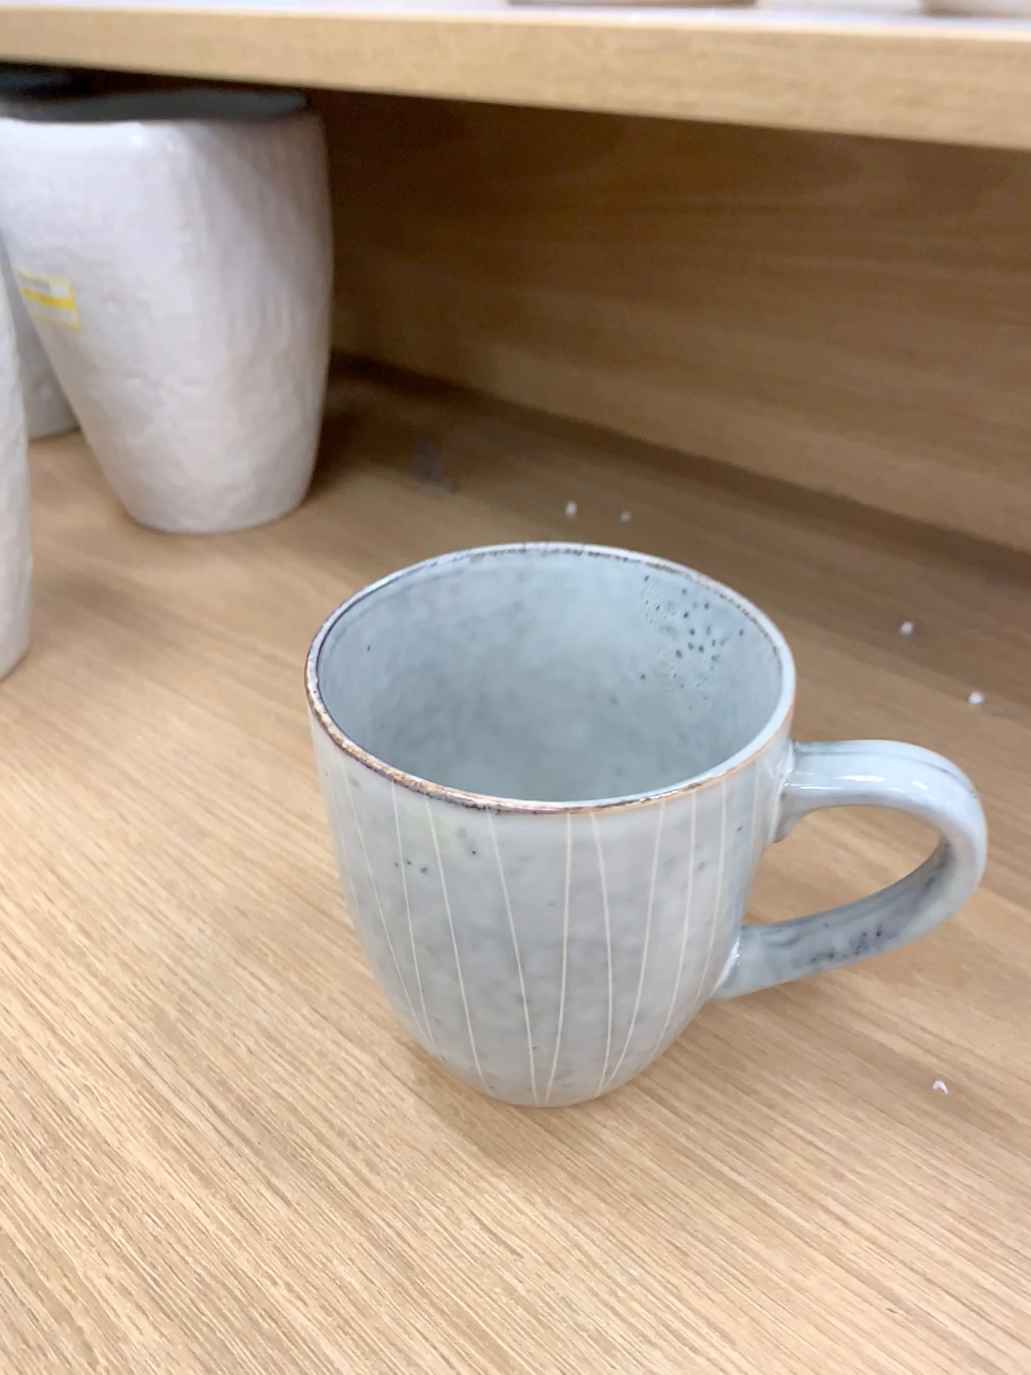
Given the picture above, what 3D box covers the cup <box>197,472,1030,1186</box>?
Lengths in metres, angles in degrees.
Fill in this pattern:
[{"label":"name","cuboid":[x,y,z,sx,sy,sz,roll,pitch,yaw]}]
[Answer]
[{"label":"cup","cuboid":[0.023,0.024,0.245,0.136,0.098,0.108,6,37,9]}]
